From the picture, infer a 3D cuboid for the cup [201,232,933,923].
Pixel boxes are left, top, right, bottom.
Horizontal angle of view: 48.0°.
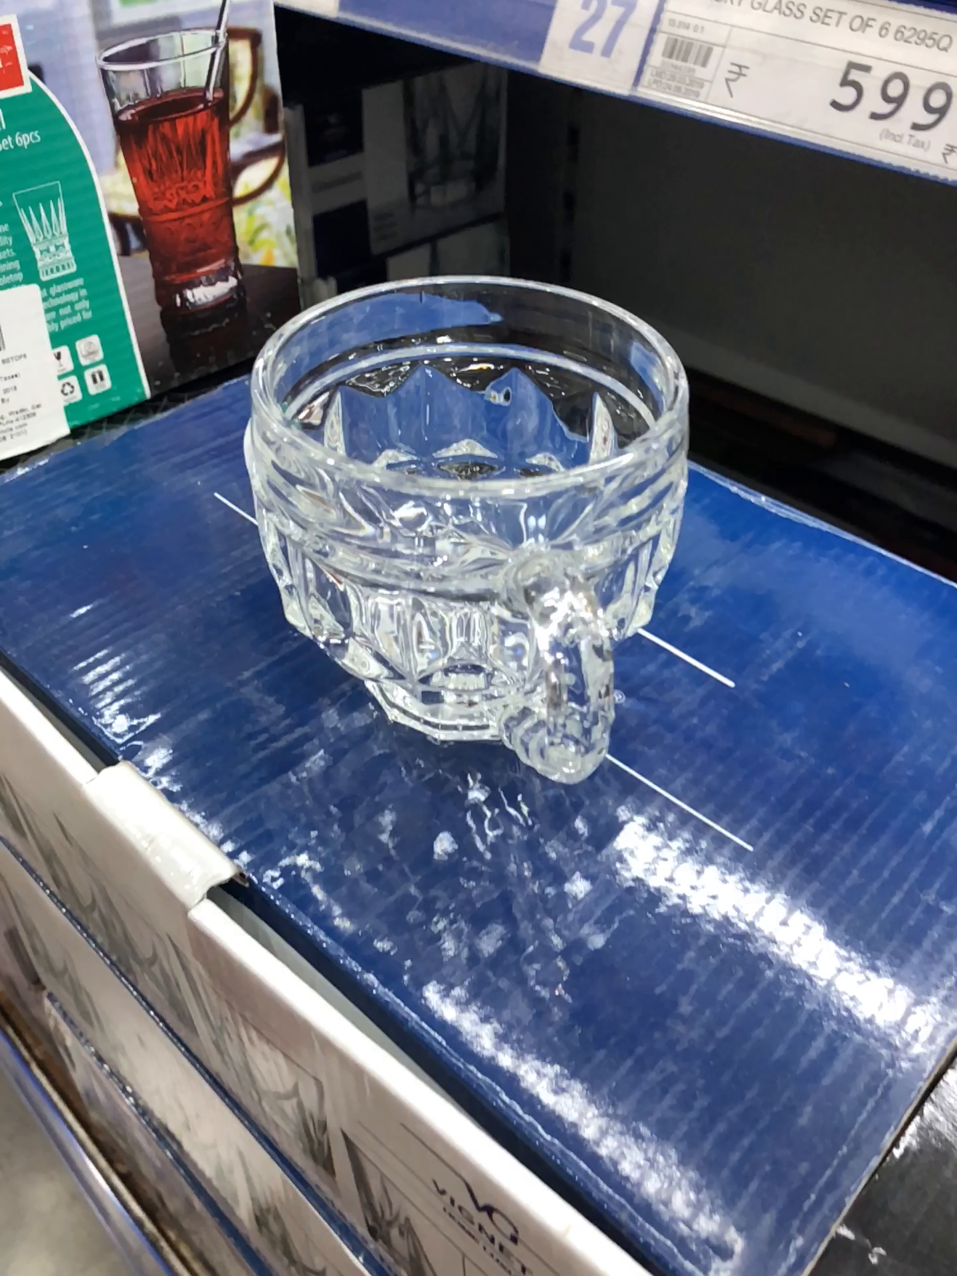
[{"bbox_3d":[0.003,-0.021,0.195,0.090,0.060,0.110,-9,42,-12],"label":"cup"}]
